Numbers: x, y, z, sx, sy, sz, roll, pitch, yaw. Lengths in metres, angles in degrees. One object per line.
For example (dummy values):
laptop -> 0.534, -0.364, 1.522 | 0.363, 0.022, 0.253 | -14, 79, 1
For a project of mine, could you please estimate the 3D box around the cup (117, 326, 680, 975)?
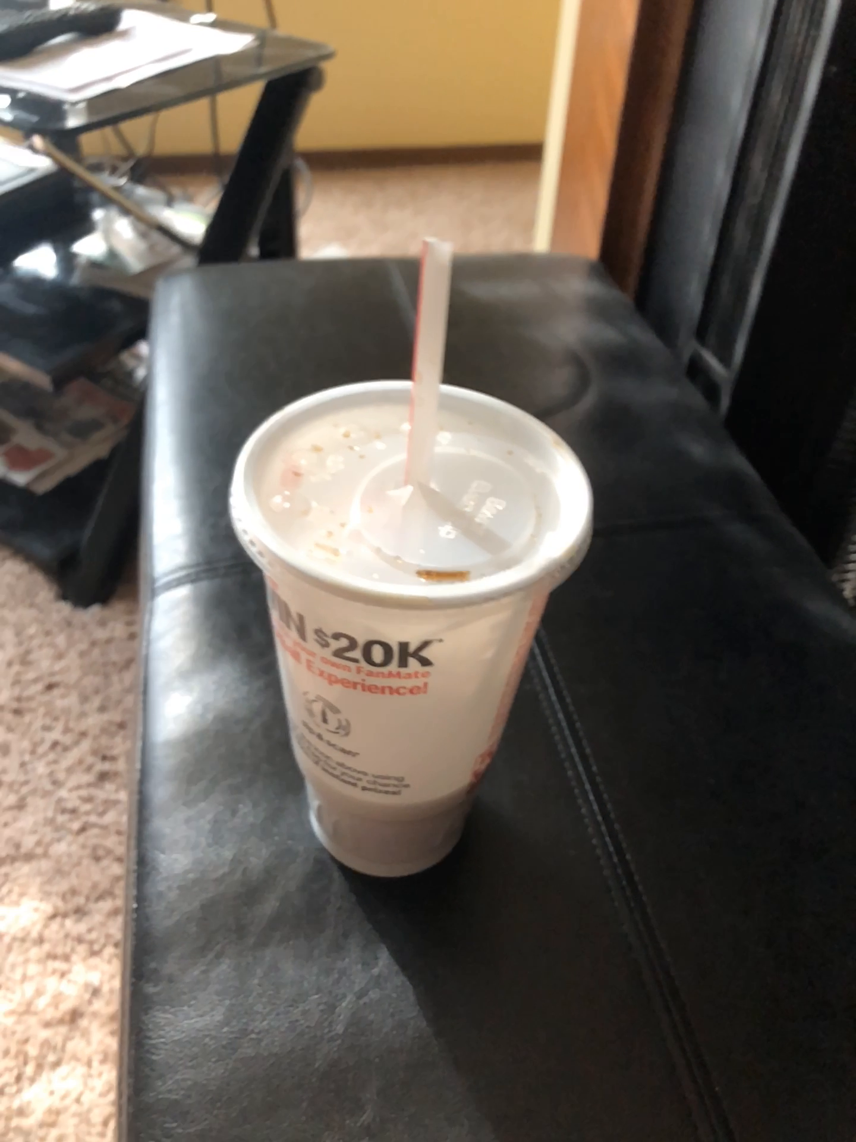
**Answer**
cup -> -0.011, 0.024, 0.329 | 0.120, 0.150, 0.110 | 2, 43, -2
